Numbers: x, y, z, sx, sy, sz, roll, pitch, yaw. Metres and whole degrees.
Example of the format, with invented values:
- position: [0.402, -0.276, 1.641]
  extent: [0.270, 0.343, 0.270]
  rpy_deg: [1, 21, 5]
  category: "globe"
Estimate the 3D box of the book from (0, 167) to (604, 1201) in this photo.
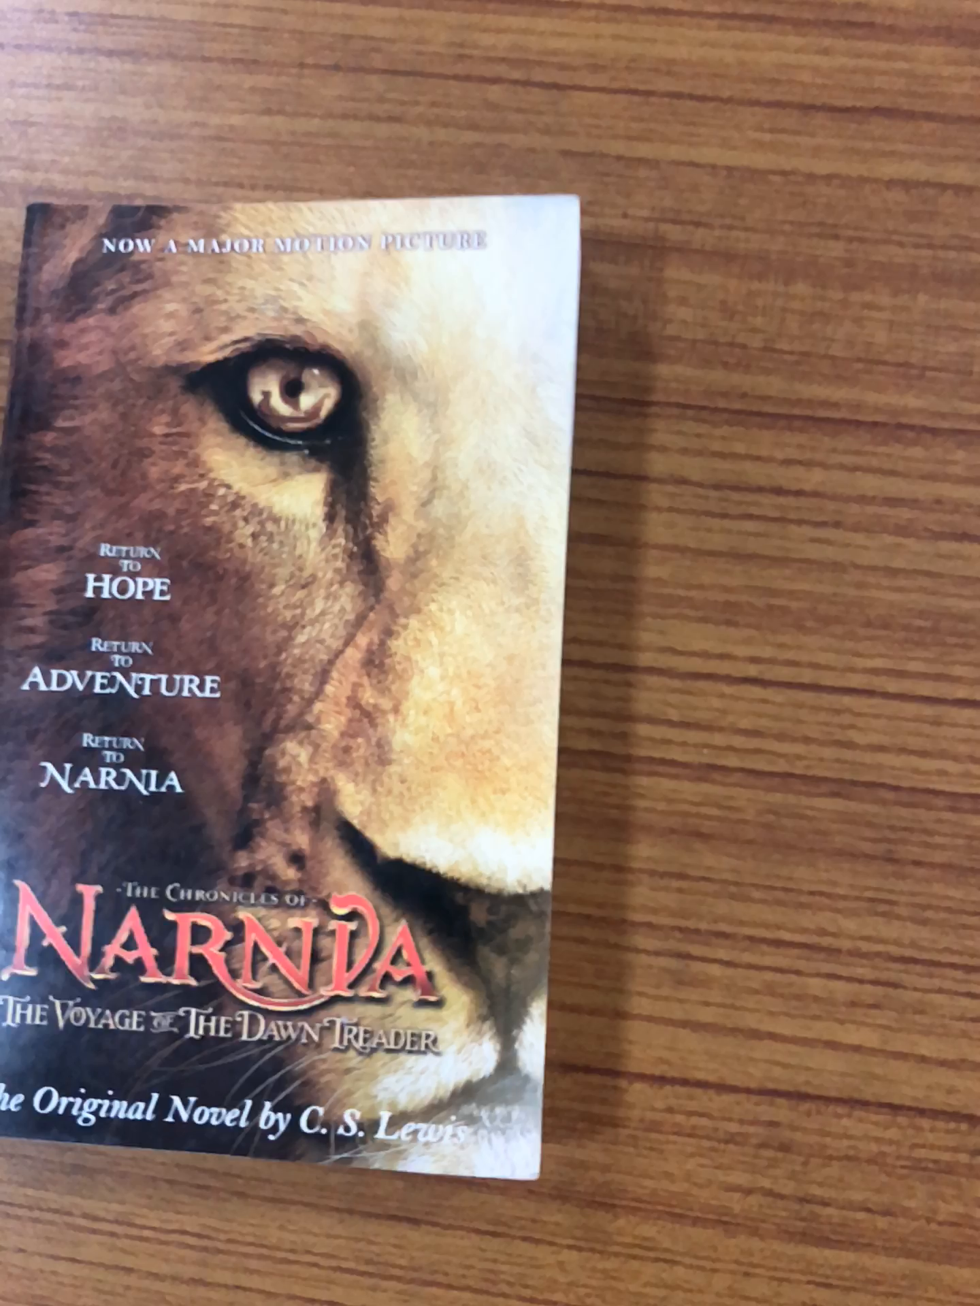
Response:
- position: [-0.042, 0.000, 0.213]
  extent: [0.120, 0.030, 0.180]
  rpy_deg: [2, 84, 5]
  category: "book"
